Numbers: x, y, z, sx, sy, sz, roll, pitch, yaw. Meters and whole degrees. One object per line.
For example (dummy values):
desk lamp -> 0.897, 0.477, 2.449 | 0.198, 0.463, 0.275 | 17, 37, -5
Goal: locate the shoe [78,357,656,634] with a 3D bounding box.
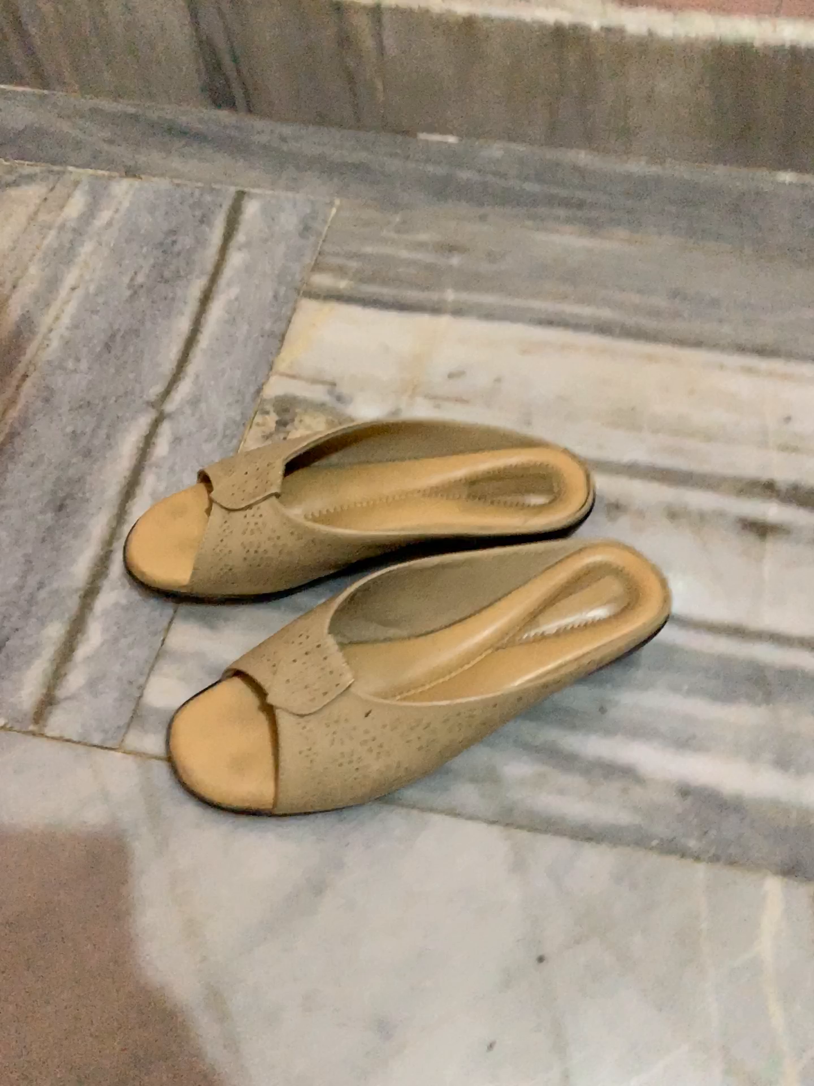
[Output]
shoe -> -0.022, -0.027, 0.449 | 0.274, 0.070, 0.095 | -7, 57, -5

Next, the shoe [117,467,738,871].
shoe -> 0.009, 0.055, 0.403 | 0.260, 0.070, 0.095 | -17, 58, -12
